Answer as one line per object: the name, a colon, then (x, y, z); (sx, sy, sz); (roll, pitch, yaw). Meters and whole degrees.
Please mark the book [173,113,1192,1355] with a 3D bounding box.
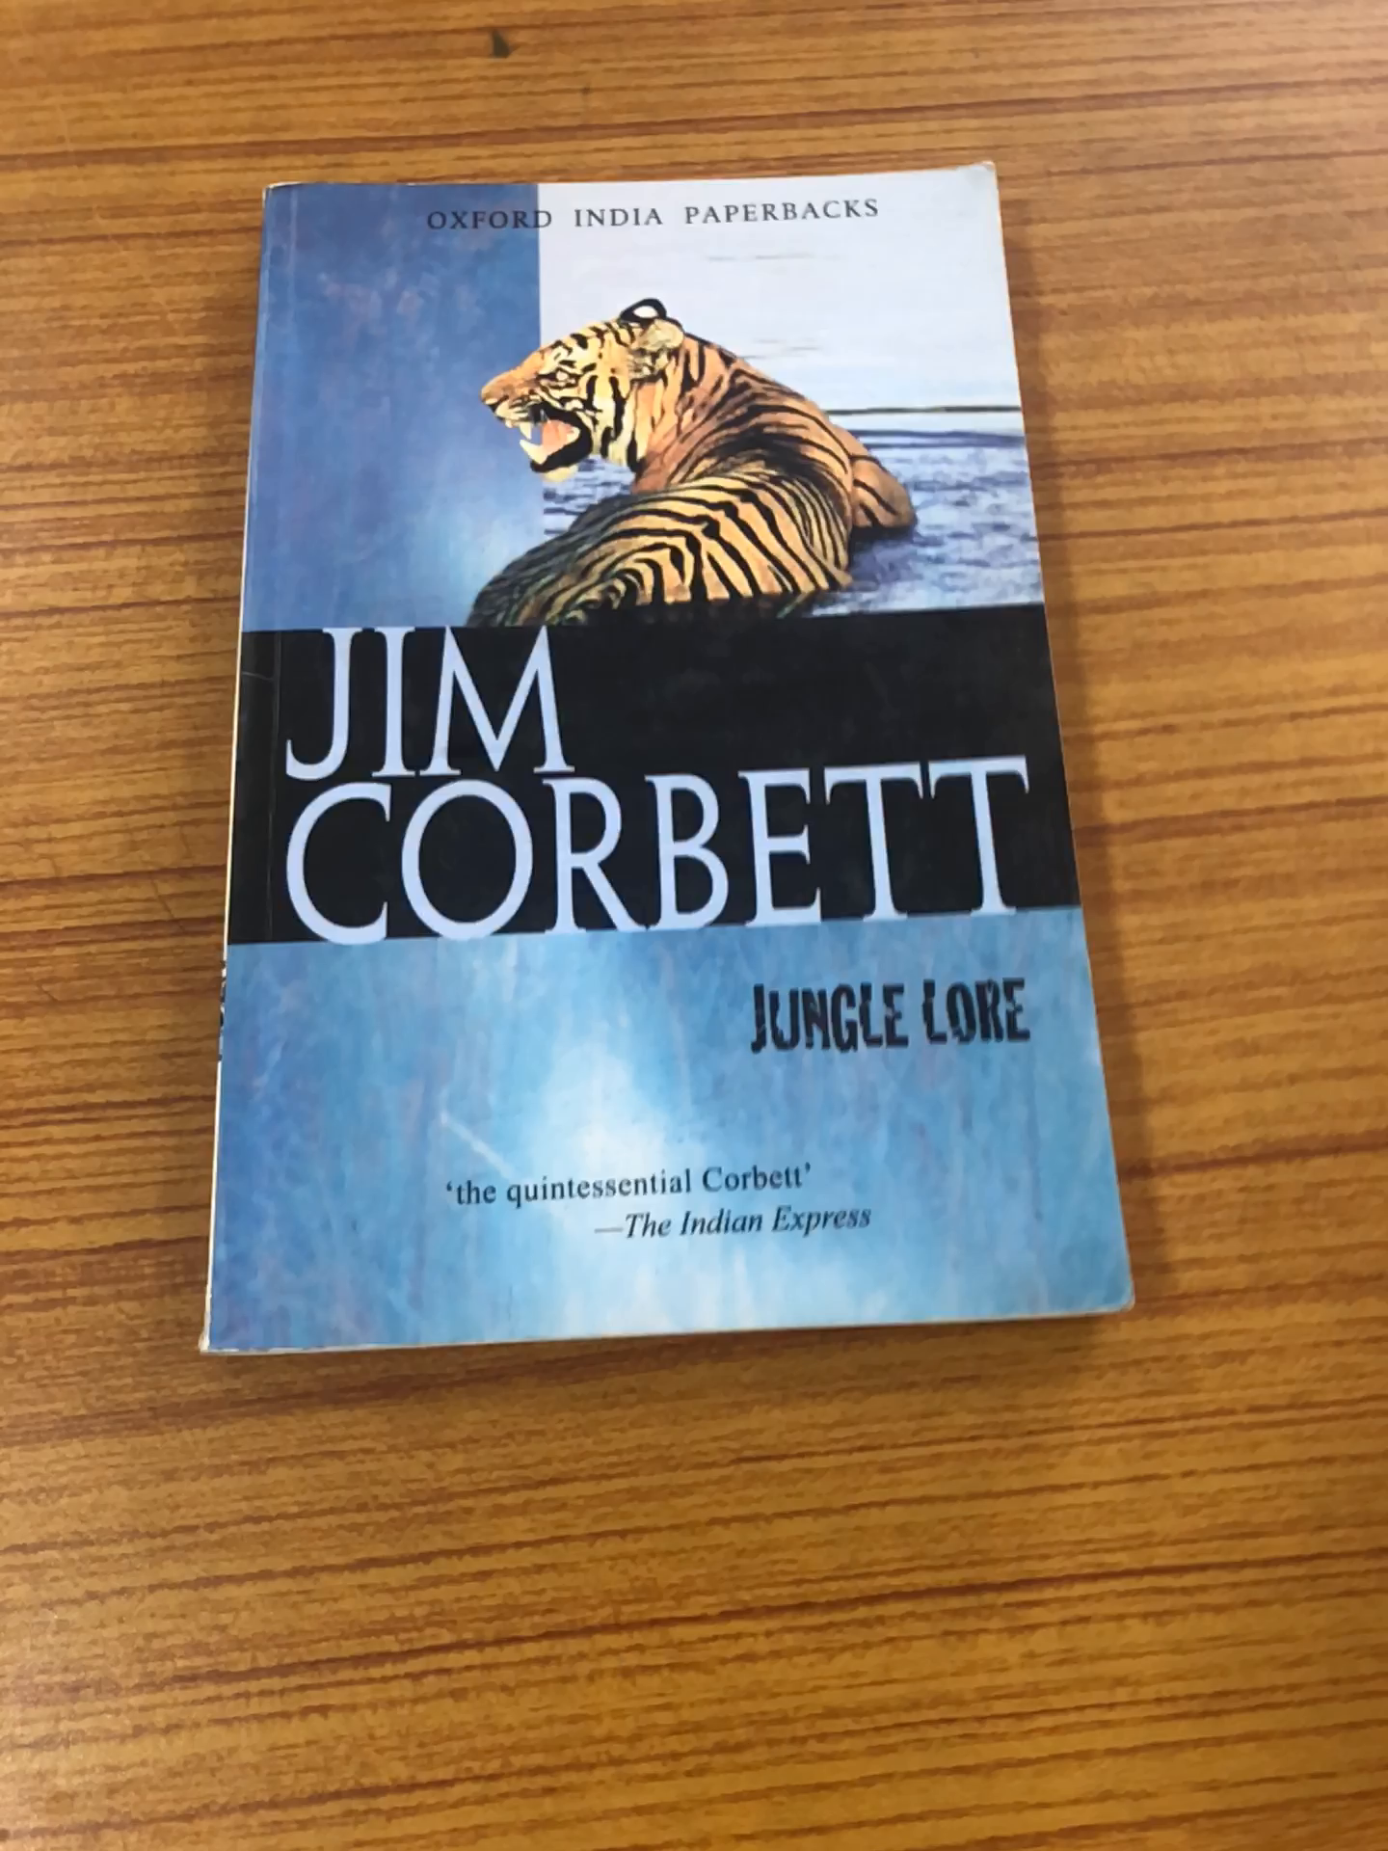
book: (-0.006, -0.044, 0.266); (0.150, 0.010, 0.220); (-2, 73, -1)
